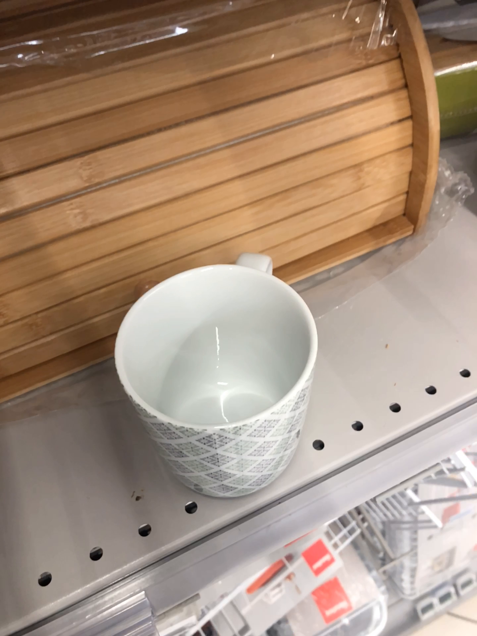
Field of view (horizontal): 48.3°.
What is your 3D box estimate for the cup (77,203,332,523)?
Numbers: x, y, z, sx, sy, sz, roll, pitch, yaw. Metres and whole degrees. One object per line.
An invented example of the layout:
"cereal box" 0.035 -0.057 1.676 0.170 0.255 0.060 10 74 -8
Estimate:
"cup" -0.006 0.020 0.267 0.085 0.090 0.119 8 51 9
